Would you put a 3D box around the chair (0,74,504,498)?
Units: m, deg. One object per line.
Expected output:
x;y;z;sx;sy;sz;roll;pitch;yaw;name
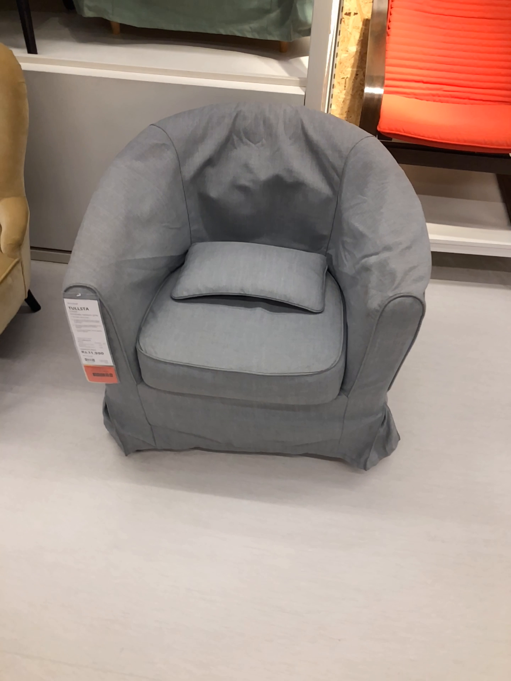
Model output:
0.009;-0.142;1.501;0.870;0.795;0.725;4;46;3;chair
